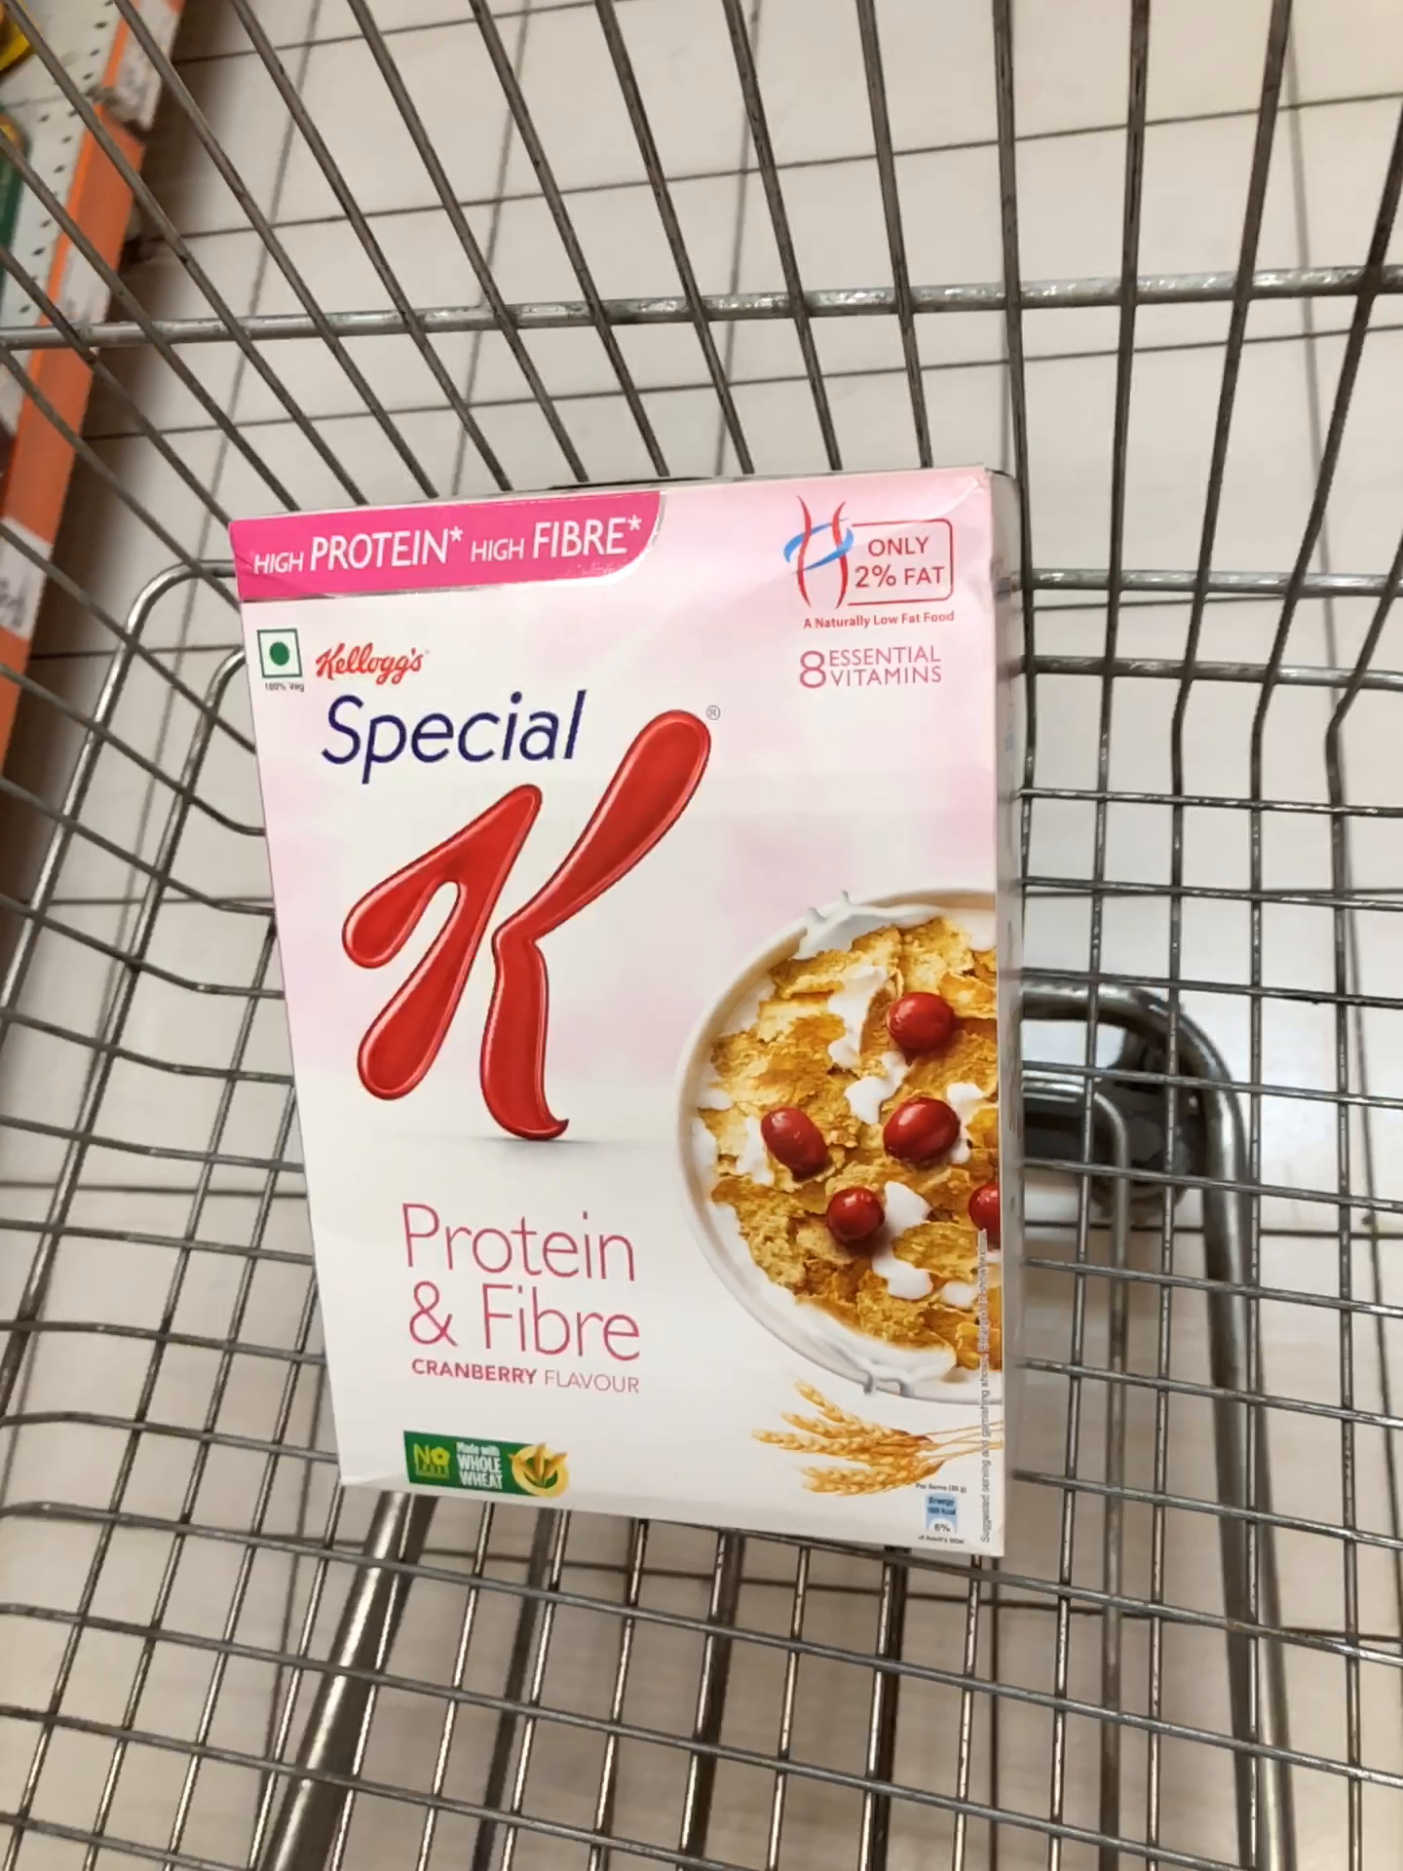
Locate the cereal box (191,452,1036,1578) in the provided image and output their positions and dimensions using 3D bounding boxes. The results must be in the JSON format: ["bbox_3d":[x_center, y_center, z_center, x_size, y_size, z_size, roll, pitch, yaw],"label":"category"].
[{"bbox_3d":[-0.009,0.016,0.423,0.190,0.100,0.269,1,106,14],"label":"cereal box"}]
